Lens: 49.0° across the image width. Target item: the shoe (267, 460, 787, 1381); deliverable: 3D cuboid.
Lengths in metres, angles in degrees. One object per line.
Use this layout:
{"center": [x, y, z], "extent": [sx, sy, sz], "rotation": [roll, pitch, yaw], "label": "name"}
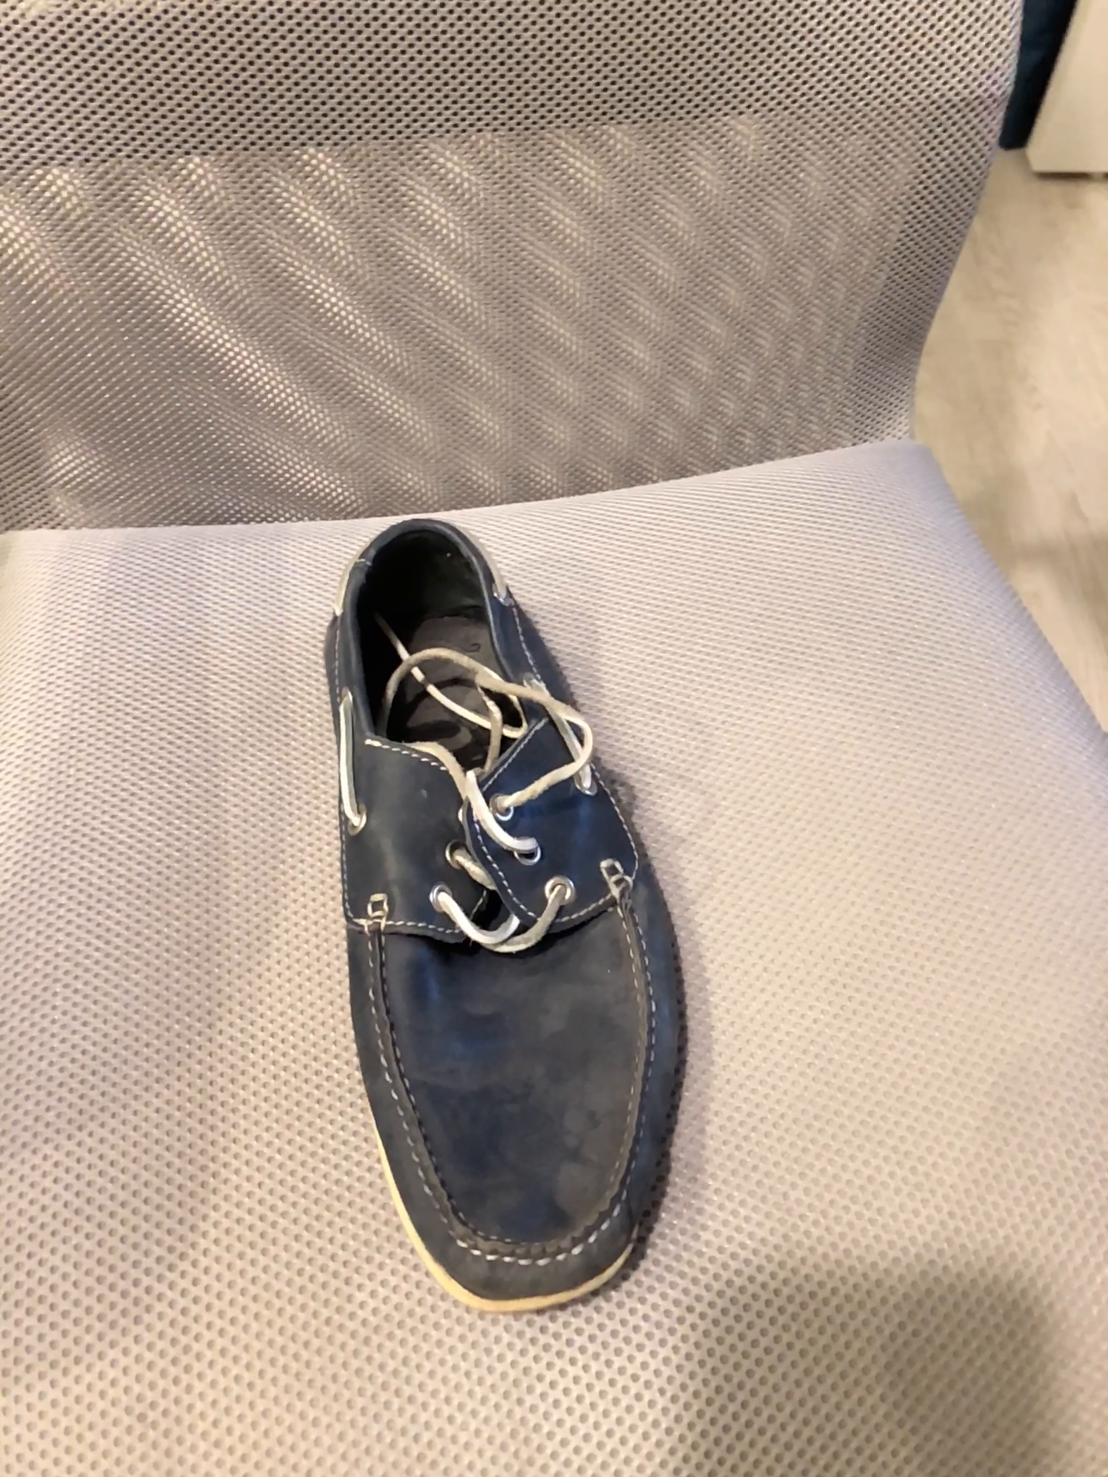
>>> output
{"center": [-0.025, 0.046, 0.428], "extent": [0.120, 0.099, 0.292], "rotation": [-8, 56, -6], "label": "shoe"}
